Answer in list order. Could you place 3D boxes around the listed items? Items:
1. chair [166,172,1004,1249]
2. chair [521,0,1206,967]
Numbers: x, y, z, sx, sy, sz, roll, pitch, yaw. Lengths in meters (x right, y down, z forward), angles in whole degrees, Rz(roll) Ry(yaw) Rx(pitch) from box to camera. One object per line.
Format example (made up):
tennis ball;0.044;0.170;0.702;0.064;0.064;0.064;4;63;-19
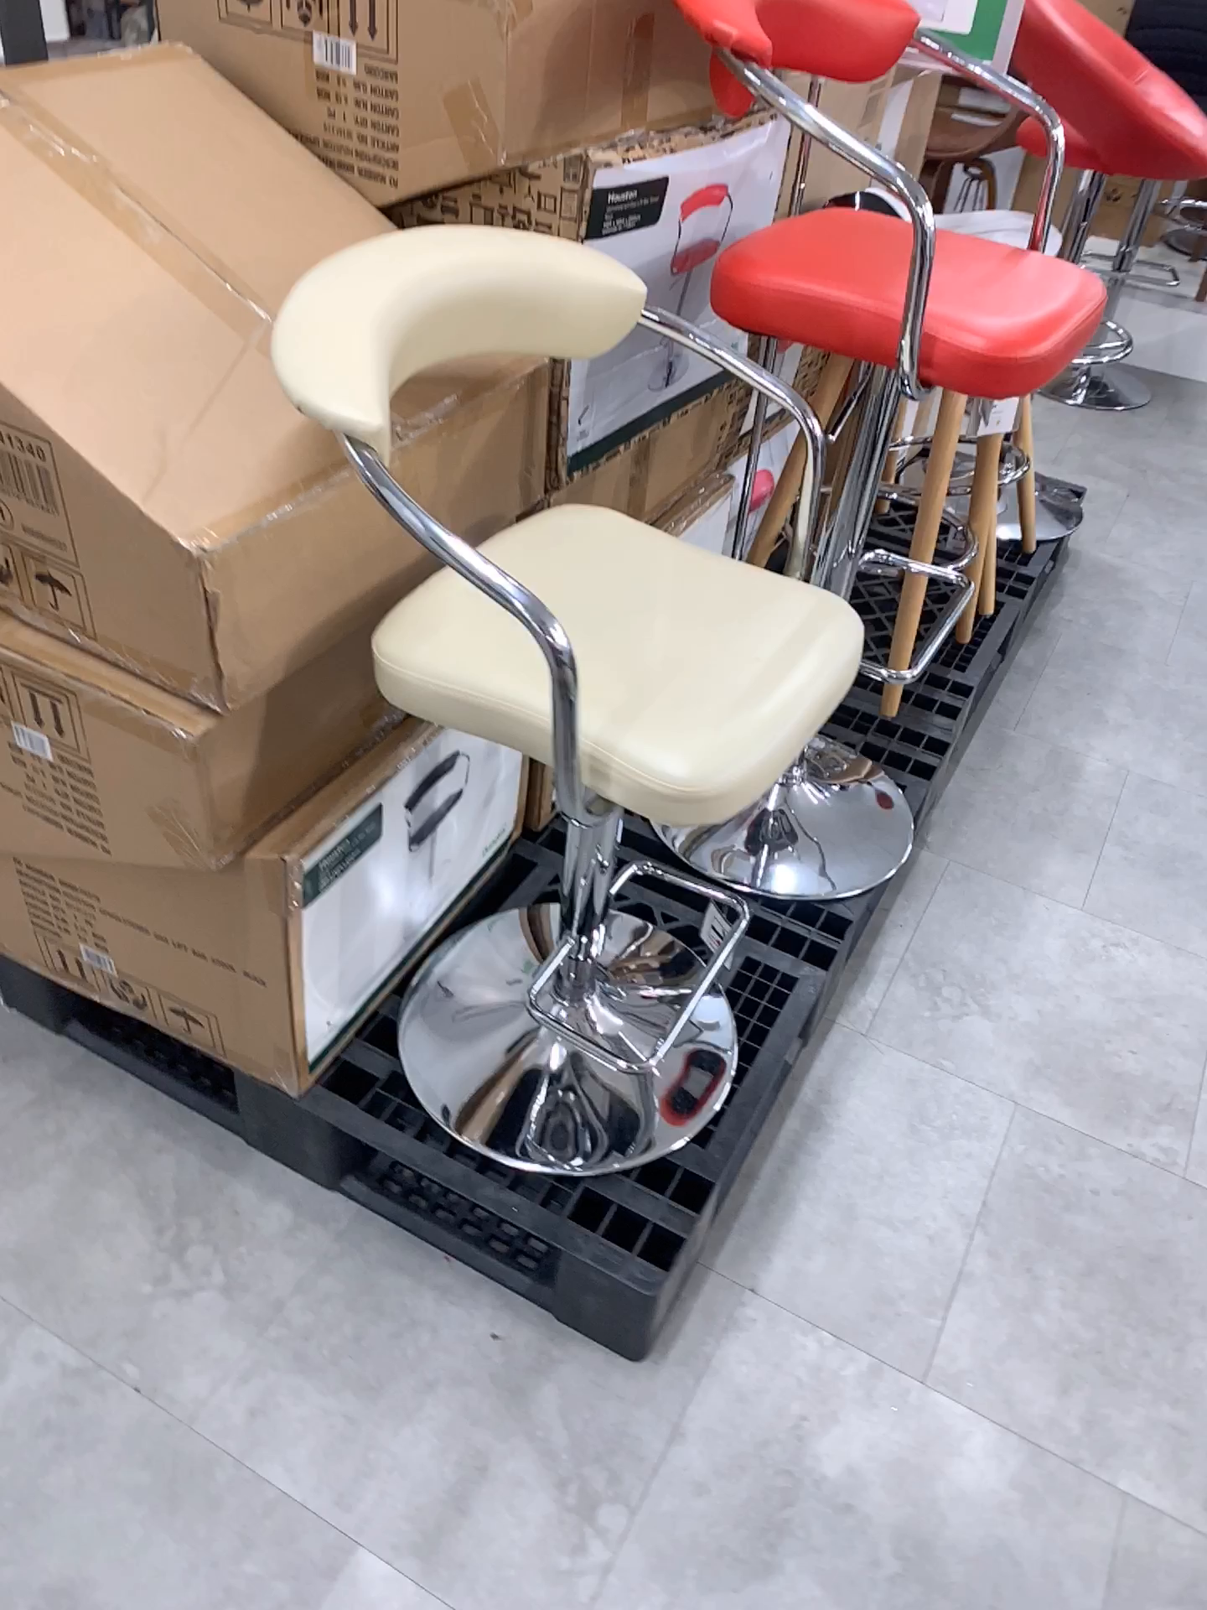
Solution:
chair;-0.022;-0.087;1.233;0.500;0.841;0.467;22;42;19
chair;0.264;-0.413;1.560;0.520;1.059;0.478;22;42;19
